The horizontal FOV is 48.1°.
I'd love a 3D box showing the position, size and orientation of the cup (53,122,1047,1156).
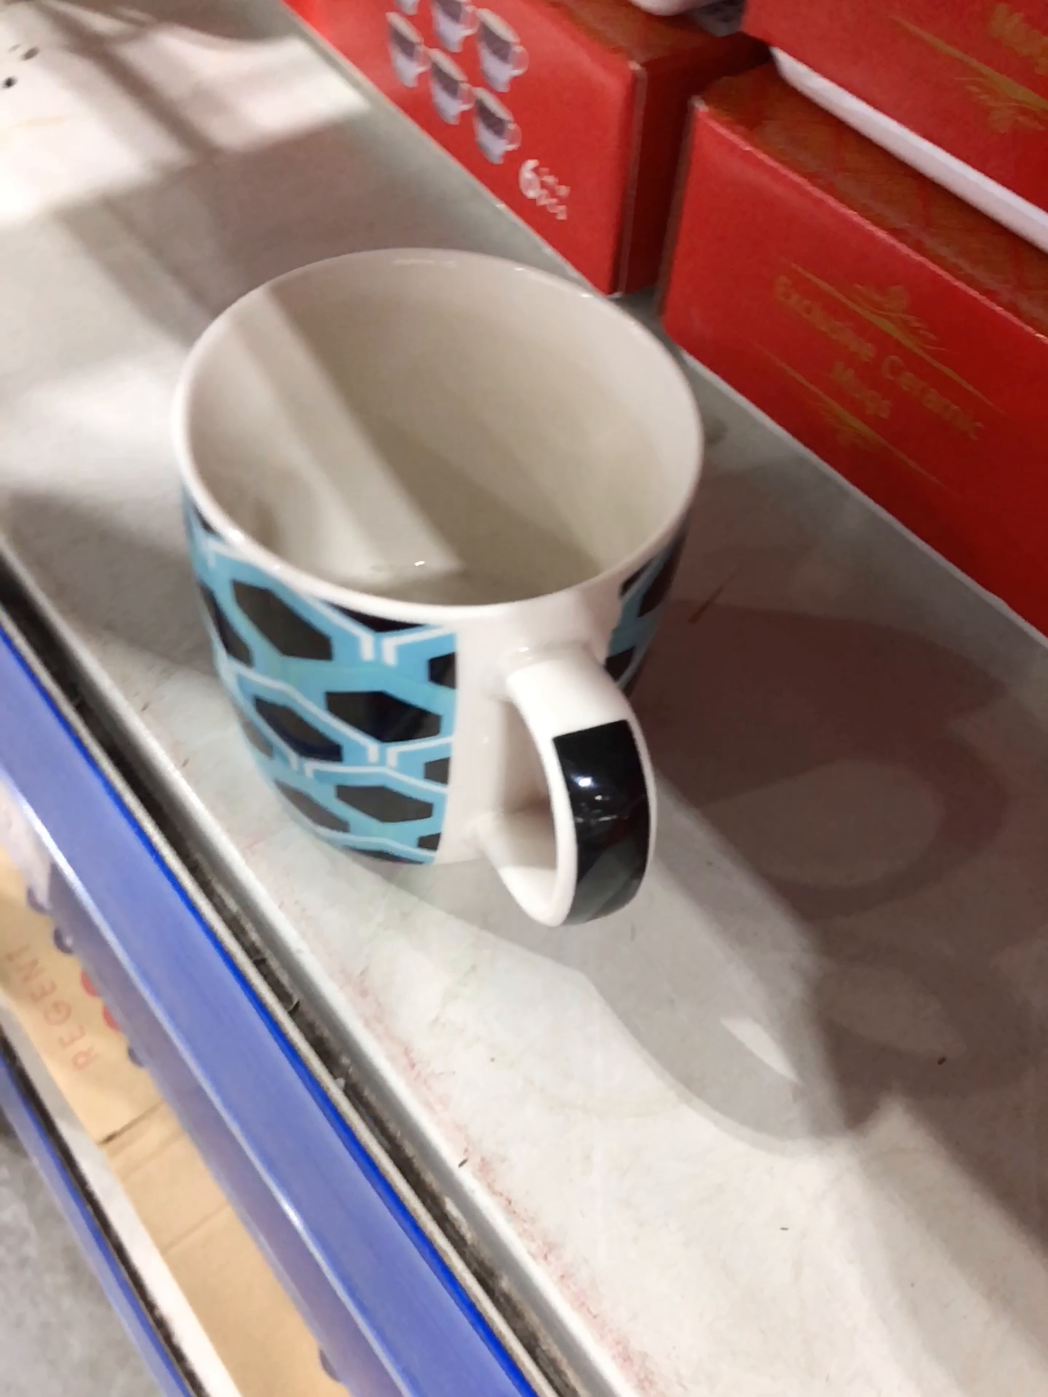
[{"bbox_3d":[-0.006,-0.013,0.229,0.110,0.120,0.130,-19,57,-18],"label":"cup"}]
